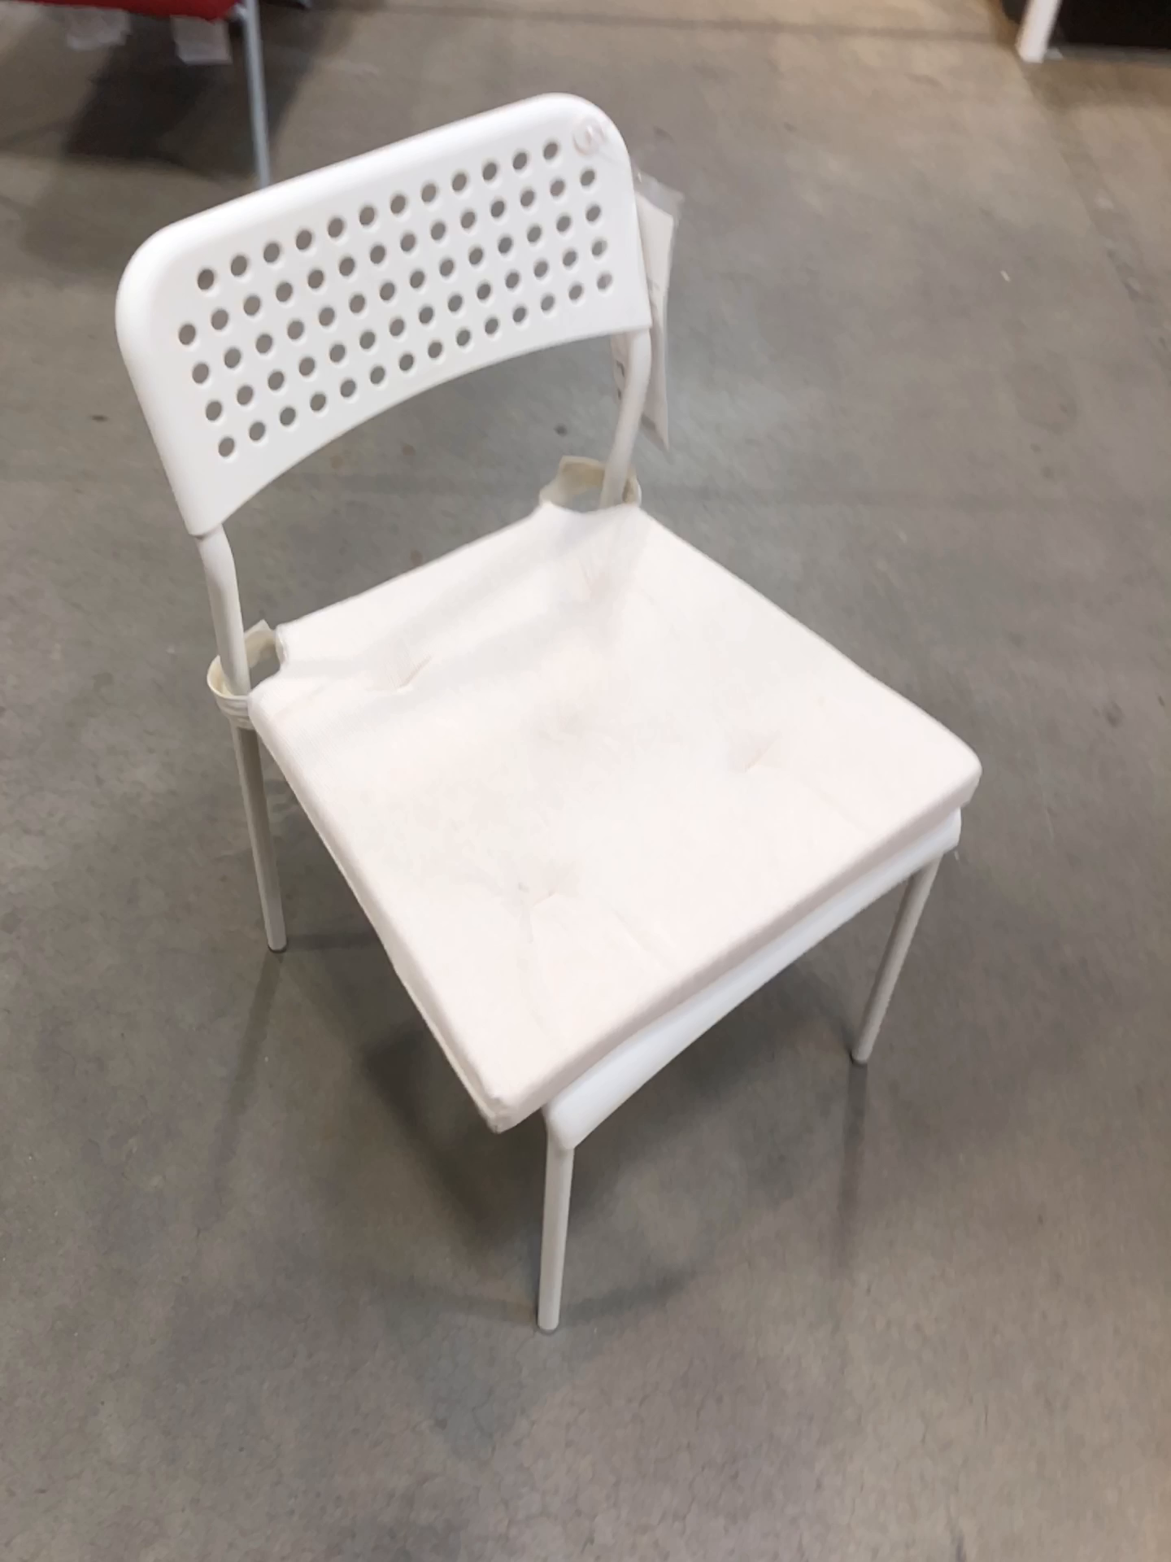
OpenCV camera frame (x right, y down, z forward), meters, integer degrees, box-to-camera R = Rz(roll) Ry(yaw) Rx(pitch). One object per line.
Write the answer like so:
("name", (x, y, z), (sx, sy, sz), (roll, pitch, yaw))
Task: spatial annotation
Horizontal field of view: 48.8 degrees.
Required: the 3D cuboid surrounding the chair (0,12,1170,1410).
("chair", (0.012, -0.007, 0.944), (0.481, 0.738, 0.531), (-33, 62, -25))
